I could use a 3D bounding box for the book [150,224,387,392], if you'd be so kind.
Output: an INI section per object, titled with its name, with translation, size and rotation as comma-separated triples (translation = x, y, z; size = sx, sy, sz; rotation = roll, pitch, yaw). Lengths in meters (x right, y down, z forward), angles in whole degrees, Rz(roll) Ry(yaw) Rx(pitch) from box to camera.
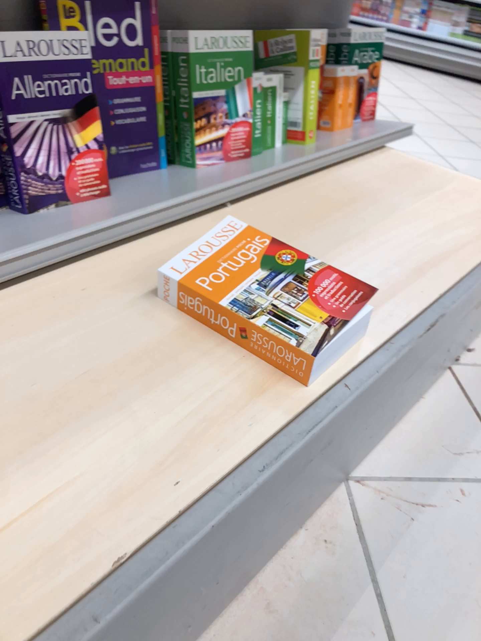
[book]
translation = 0.024, -0.023, 0.504
size = 0.185, 0.046, 0.118
rotation = 28, 38, 25
